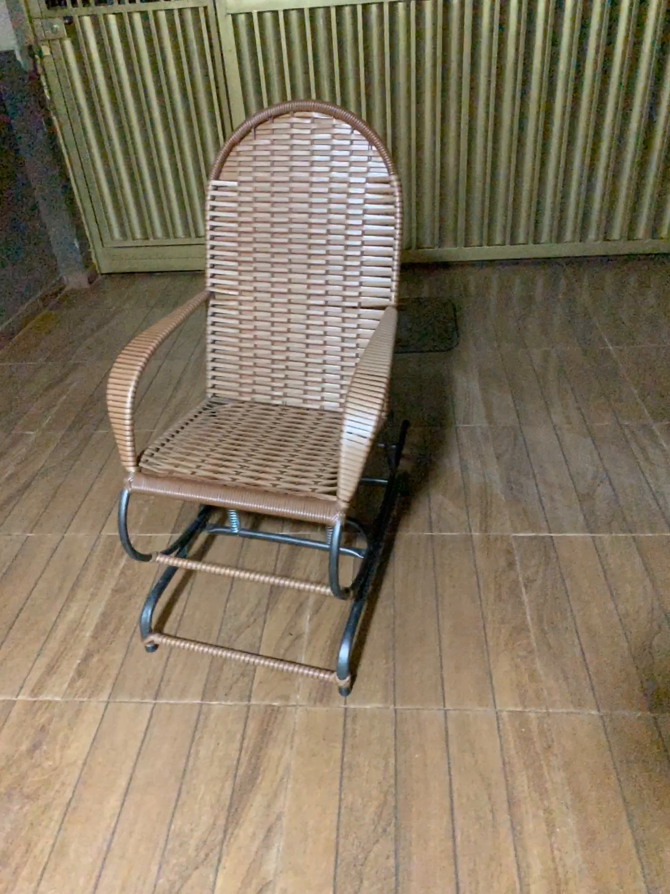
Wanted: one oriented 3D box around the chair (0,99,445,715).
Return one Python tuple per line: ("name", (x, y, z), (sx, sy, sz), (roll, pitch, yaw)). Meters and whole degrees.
("chair", (-0.134, -0.124, 1.531), (0.599, 1.050, 0.787), (7, 37, 16))
